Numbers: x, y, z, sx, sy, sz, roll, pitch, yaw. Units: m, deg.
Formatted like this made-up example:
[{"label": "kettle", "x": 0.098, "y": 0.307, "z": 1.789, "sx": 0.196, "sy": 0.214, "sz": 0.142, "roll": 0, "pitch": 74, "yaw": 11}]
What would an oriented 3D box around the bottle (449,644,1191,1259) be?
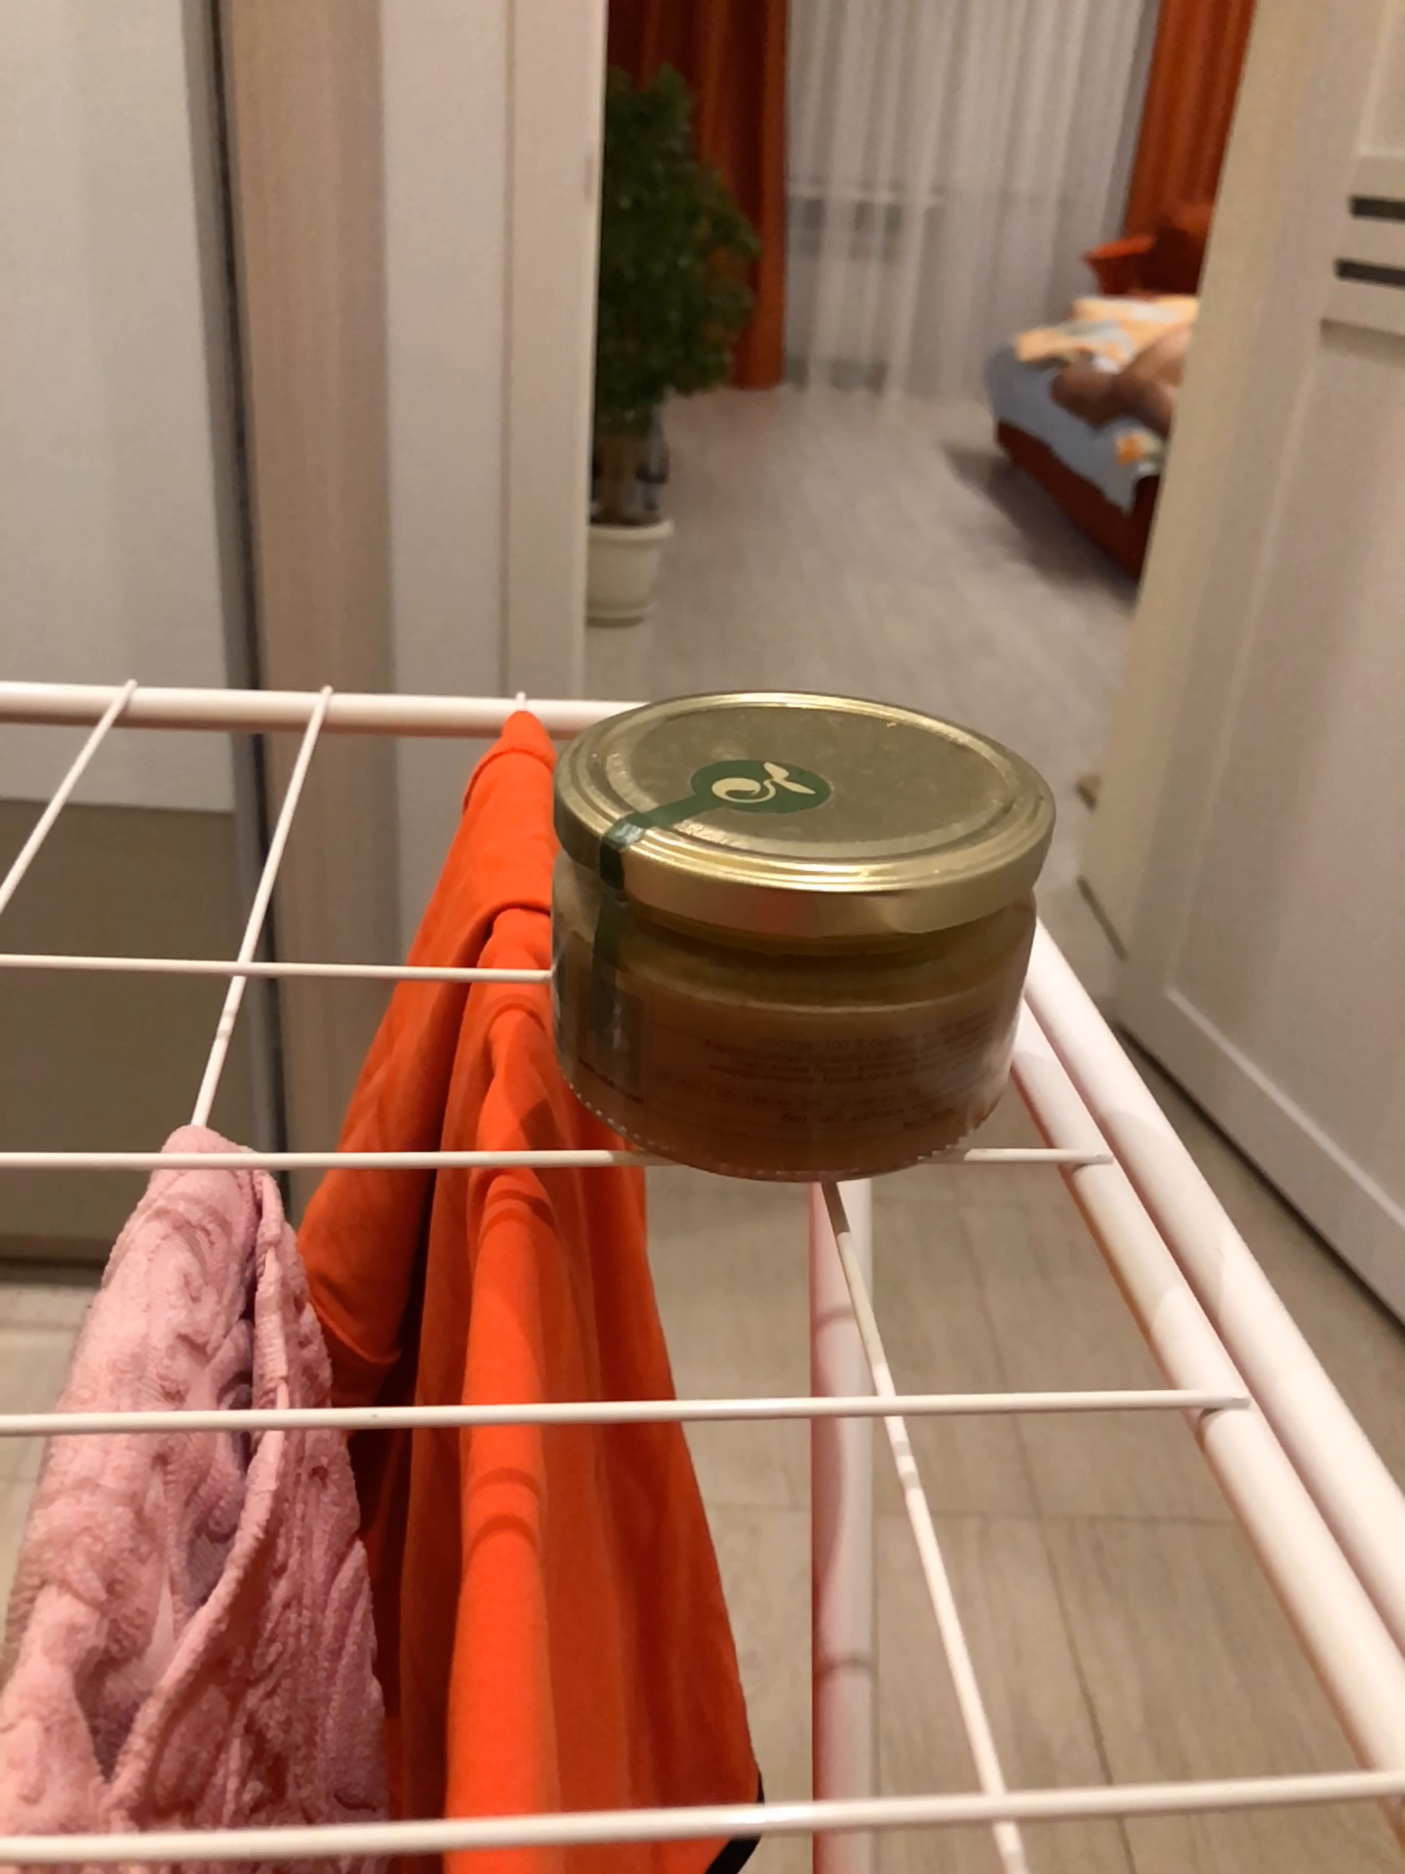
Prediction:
[{"label": "bottle", "x": 0.015, "y": -0.006, "z": 0.277, "sx": 0.090, "sy": 0.060, "sz": 0.090, "roll": 3, "pitch": 27, "yaw": -2}]
